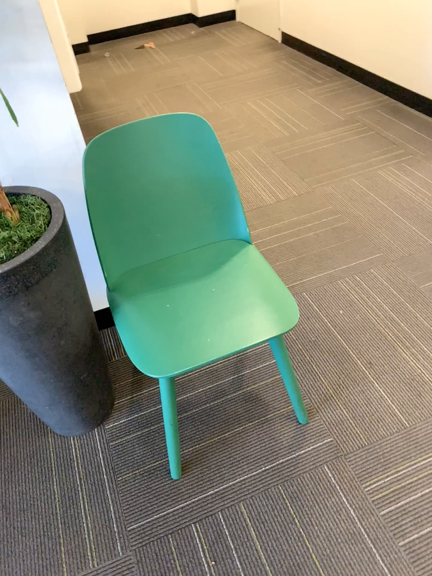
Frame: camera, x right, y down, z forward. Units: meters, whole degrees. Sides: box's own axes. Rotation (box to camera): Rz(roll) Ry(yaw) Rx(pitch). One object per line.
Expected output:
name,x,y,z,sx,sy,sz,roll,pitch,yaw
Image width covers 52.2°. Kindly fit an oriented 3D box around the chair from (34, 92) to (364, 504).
chair,-0.057,0.024,1.146,0.500,0.746,0.604,-19,44,-11
